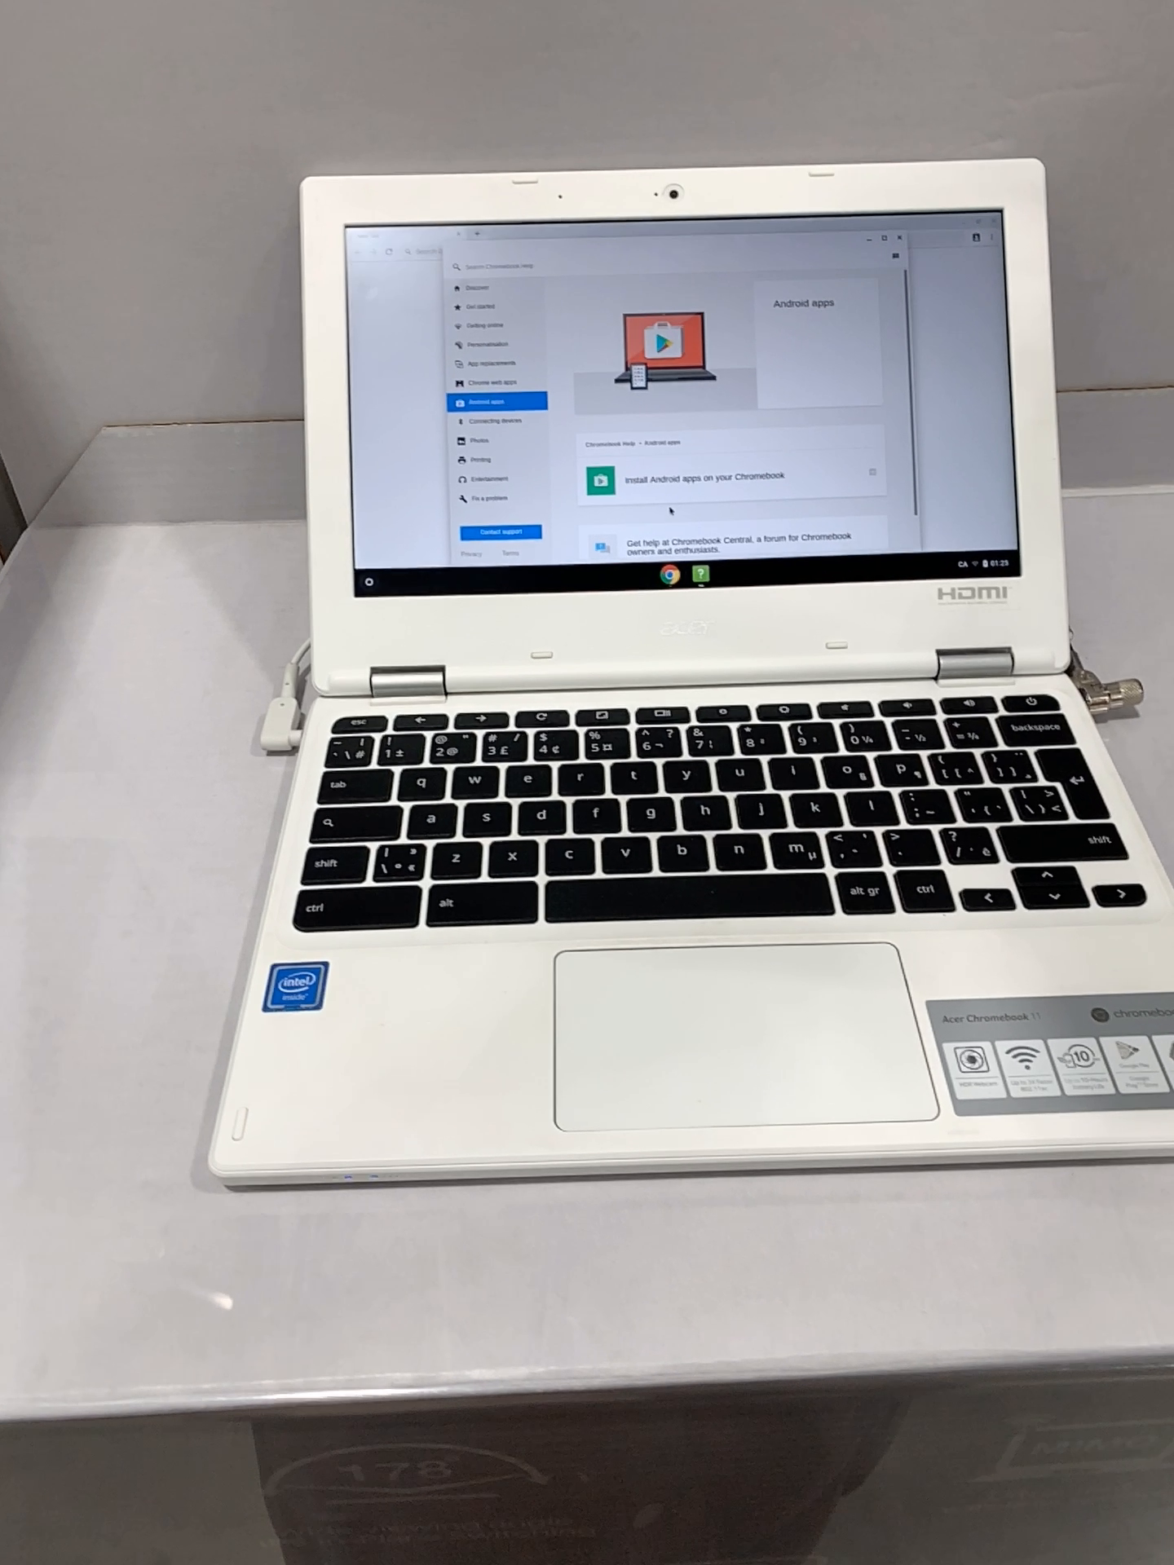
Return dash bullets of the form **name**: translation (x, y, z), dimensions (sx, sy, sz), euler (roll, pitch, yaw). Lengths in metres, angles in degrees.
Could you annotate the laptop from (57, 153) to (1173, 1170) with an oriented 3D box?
- **laptop**: translation (0.041, -0.067, 0.385), dimensions (0.282, 0.132, 0.330), euler (-1, 46, 0)
